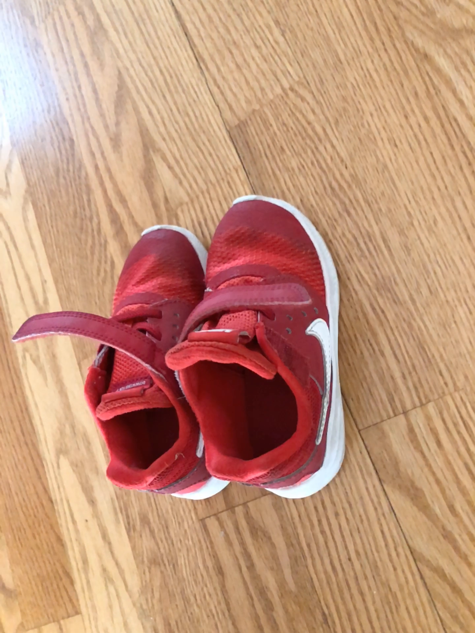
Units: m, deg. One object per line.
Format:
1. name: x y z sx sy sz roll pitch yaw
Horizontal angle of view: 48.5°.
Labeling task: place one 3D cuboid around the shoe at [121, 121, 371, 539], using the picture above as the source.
1. shoe: 0.003 0.011 0.270 0.088 0.069 0.177 -11 79 26

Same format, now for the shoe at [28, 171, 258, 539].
1. shoe: -0.055 0.023 0.301 0.081 0.069 0.175 -17 76 25
